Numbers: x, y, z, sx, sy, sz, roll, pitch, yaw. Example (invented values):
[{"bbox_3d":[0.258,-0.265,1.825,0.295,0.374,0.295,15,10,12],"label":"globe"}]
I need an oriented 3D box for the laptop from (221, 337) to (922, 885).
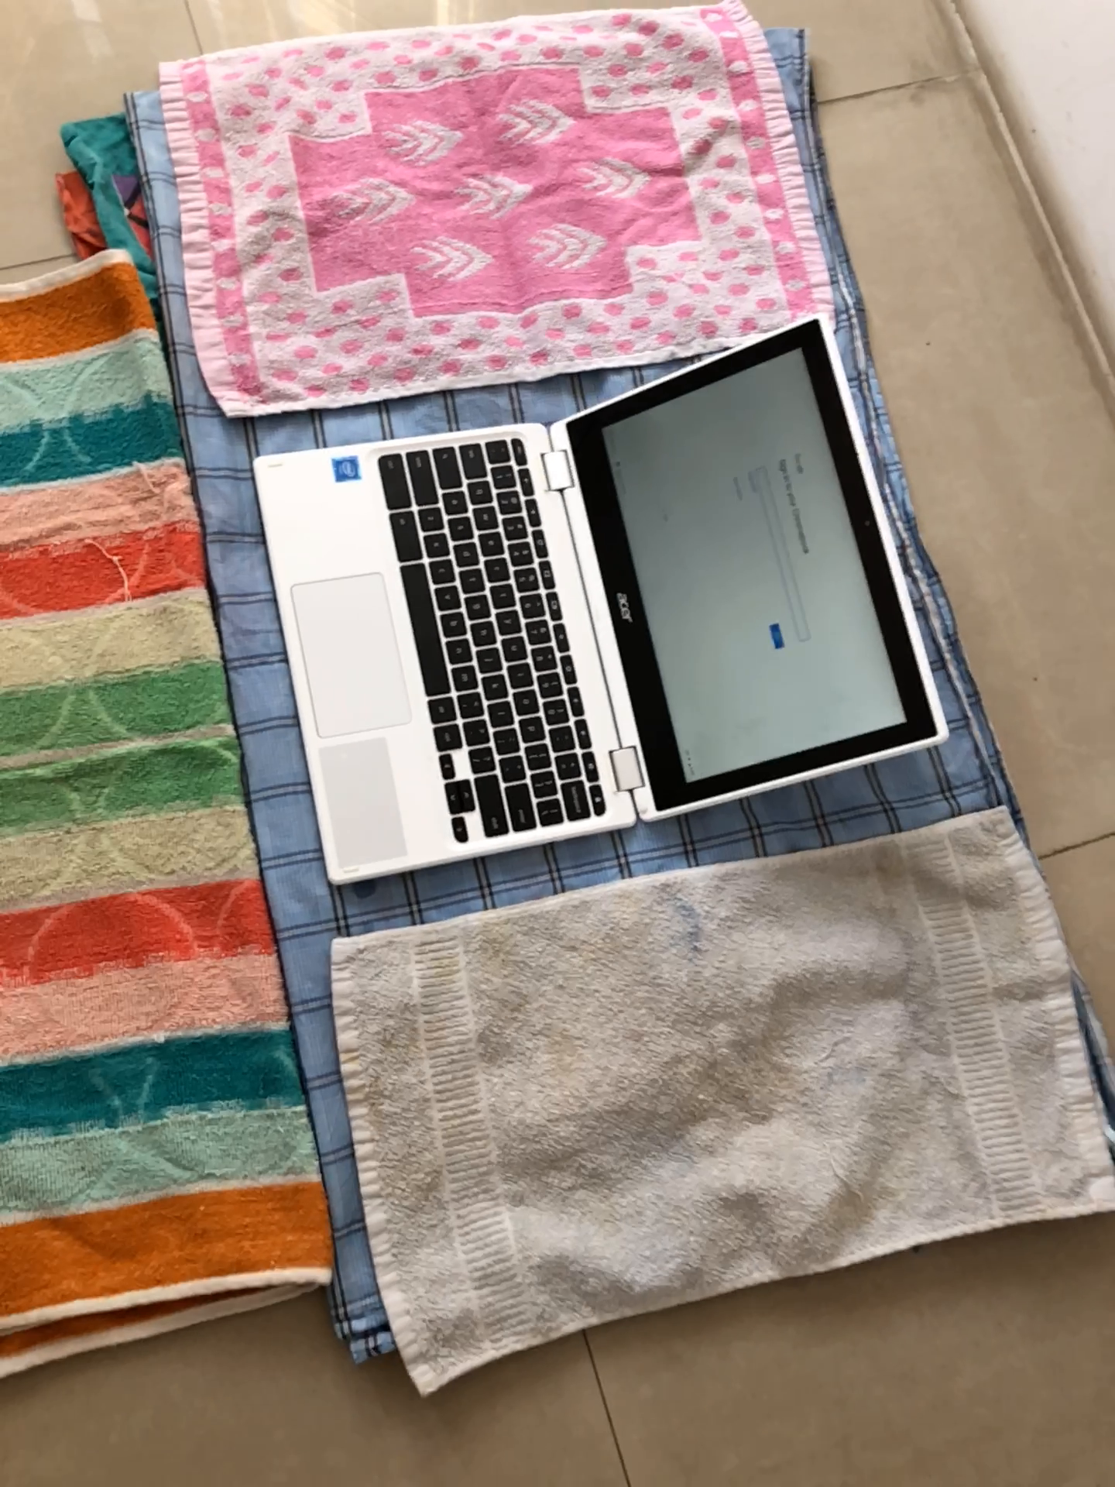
[{"bbox_3d":[0.007,-0.088,0.780,0.367,0.101,0.285,-10,78,-12],"label":"laptop"}]
